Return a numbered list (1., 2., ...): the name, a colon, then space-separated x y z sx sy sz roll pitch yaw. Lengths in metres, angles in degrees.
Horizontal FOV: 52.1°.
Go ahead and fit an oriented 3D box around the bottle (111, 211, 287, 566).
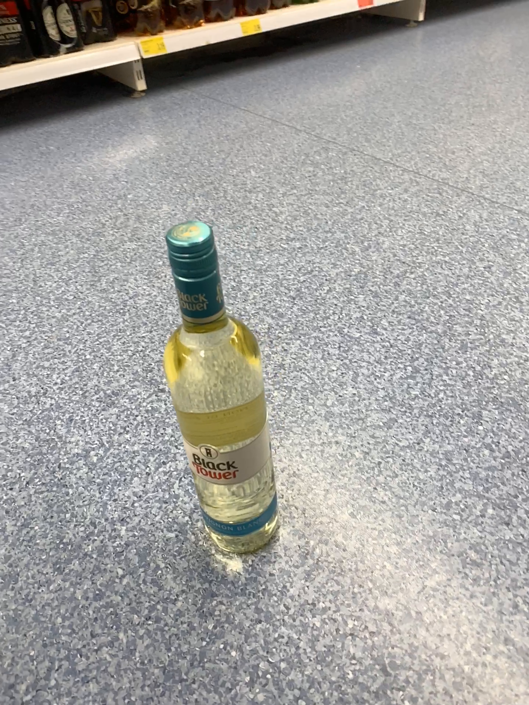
1. bottle: -0.033 0.049 0.419 0.071 0.305 0.066 -4 40 3
